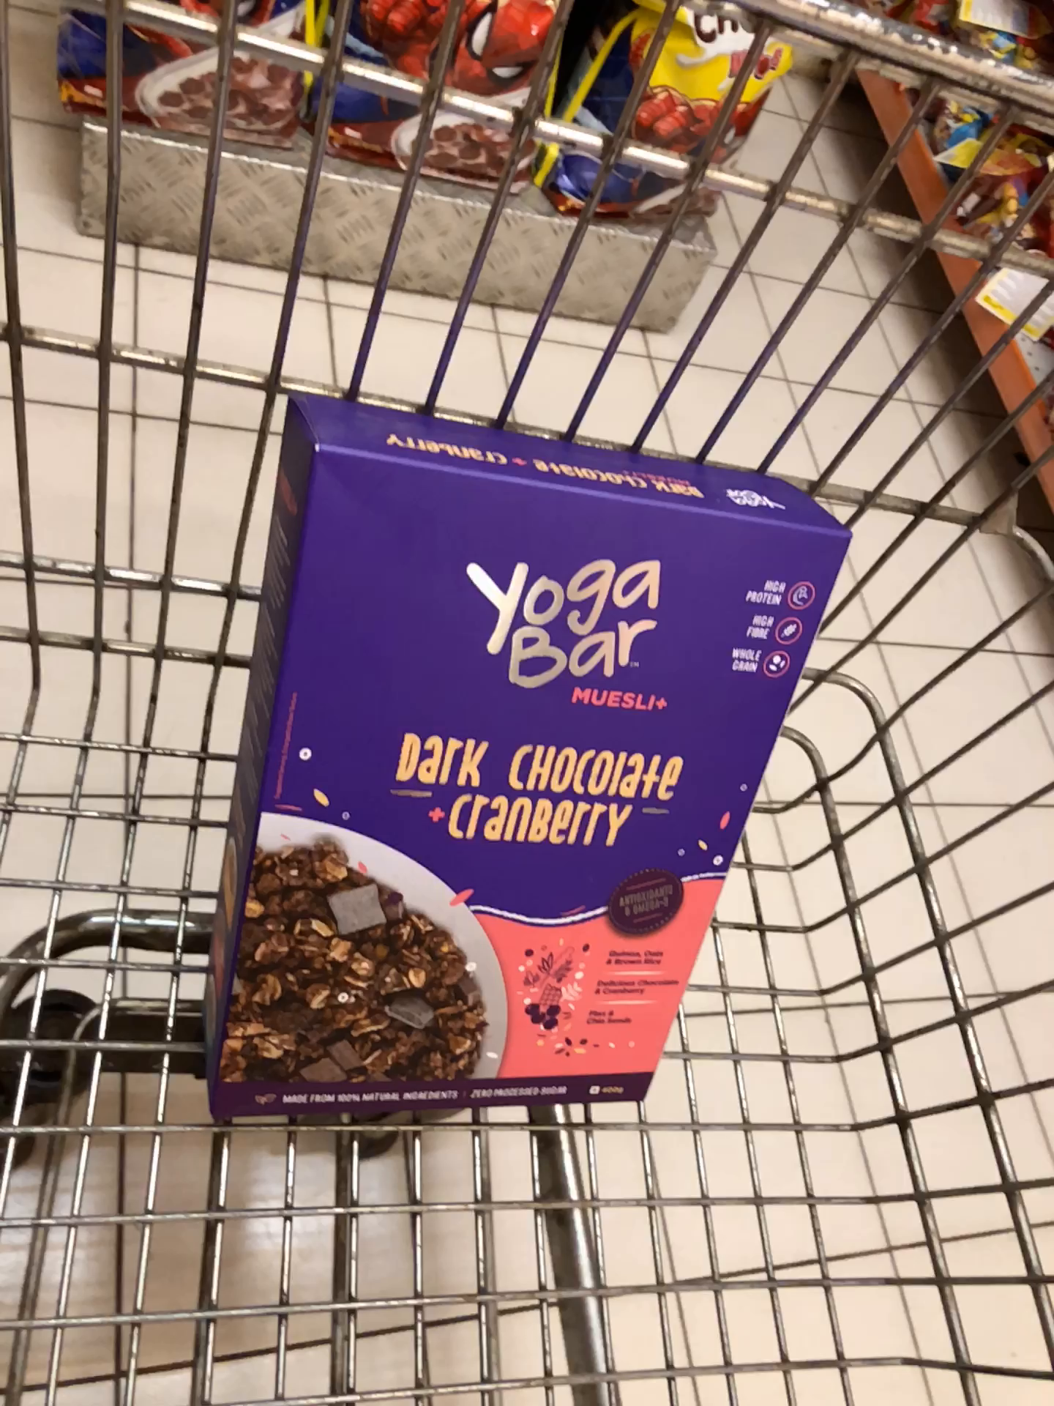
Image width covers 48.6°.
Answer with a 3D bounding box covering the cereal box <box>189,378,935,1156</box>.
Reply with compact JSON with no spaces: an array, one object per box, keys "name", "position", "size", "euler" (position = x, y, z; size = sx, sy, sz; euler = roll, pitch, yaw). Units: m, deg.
[{"name":"cereal box","position":[-0.001,0.033,0.375],"size":[0.180,0.229,0.060],"euler":[5,25,-20]}]
